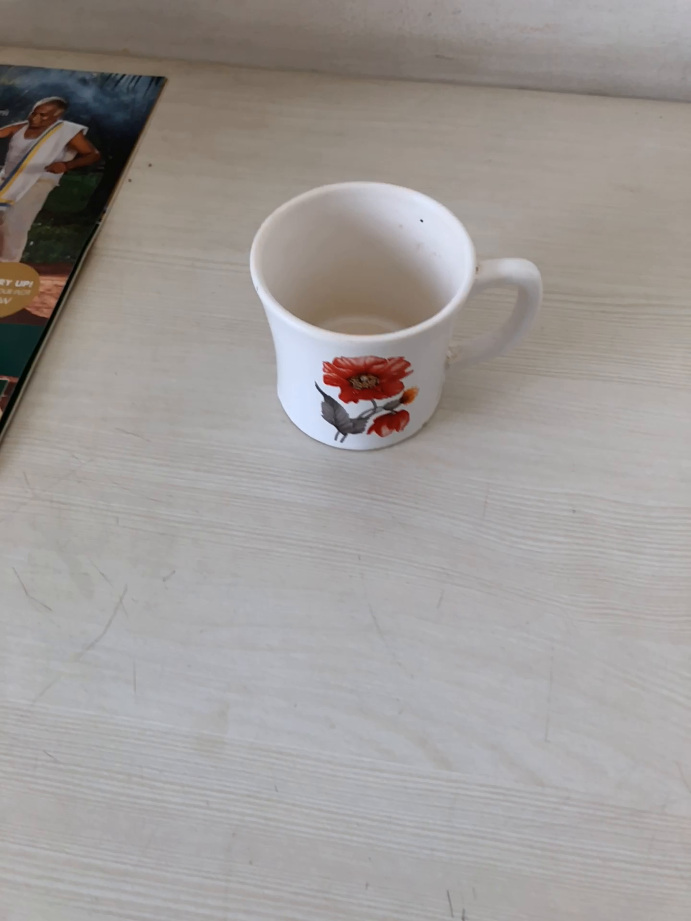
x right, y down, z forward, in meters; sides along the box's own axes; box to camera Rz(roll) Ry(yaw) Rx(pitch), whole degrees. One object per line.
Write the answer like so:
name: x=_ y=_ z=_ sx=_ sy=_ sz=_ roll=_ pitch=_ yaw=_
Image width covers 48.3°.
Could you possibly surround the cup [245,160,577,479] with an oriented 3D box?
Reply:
cup: x=0.016 y=-0.046 z=0.261 sx=0.090 sy=0.070 sz=0.070 roll=-6 pitch=56 yaw=-3
